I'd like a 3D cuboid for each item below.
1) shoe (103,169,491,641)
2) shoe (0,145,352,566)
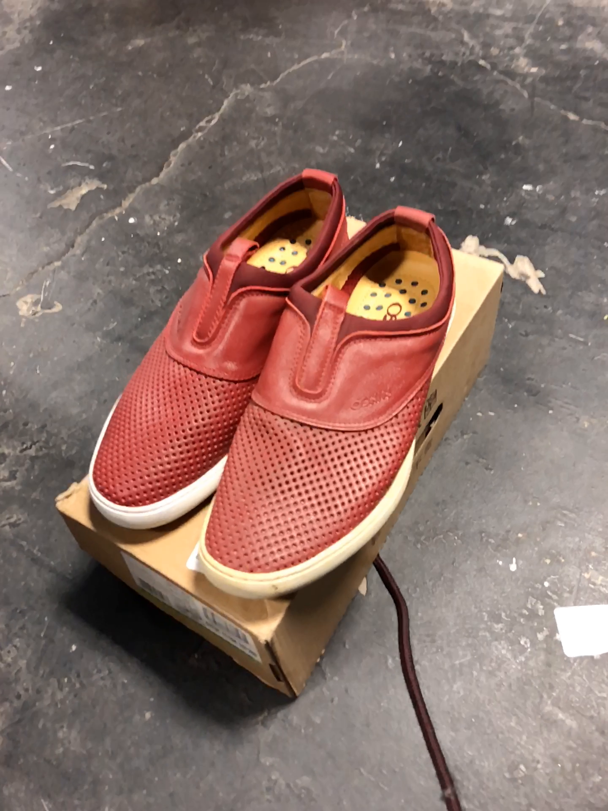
[{"bbox_3d":[0.013,-0.011,0.379,0.100,0.109,0.231,20,58,20],"label":"shoe"},{"bbox_3d":[-0.066,-0.041,0.418,0.100,0.109,0.231,20,58,20],"label":"shoe"}]
